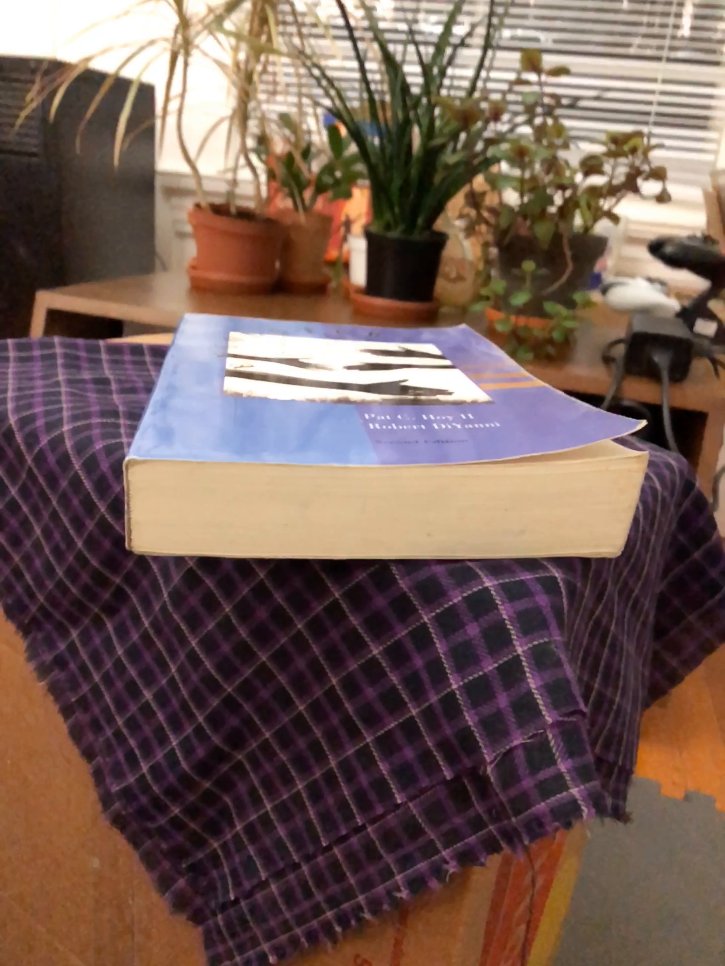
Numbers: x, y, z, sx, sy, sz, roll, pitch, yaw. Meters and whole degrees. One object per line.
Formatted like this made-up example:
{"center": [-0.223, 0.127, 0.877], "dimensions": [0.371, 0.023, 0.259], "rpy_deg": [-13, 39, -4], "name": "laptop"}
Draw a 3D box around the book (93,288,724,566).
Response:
{"center": [0.006, -0.042, 0.359], "dimensions": [0.200, 0.040, 0.261], "rpy_deg": [2, 20, -10], "name": "book"}
